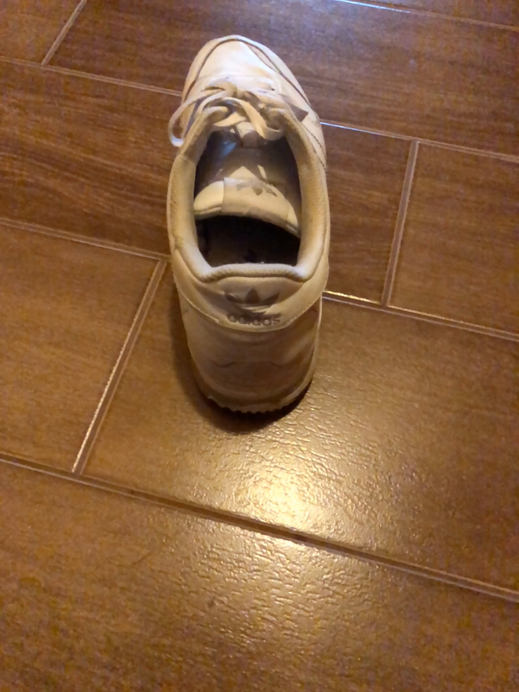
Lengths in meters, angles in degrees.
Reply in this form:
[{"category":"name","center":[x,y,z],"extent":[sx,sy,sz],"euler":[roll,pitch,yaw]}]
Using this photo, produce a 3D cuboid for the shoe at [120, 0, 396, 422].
[{"category":"shoe","center":[-0.004,-0.119,0.375],"extent":[0.120,0.119,0.311],"euler":[0,63,-2]}]
